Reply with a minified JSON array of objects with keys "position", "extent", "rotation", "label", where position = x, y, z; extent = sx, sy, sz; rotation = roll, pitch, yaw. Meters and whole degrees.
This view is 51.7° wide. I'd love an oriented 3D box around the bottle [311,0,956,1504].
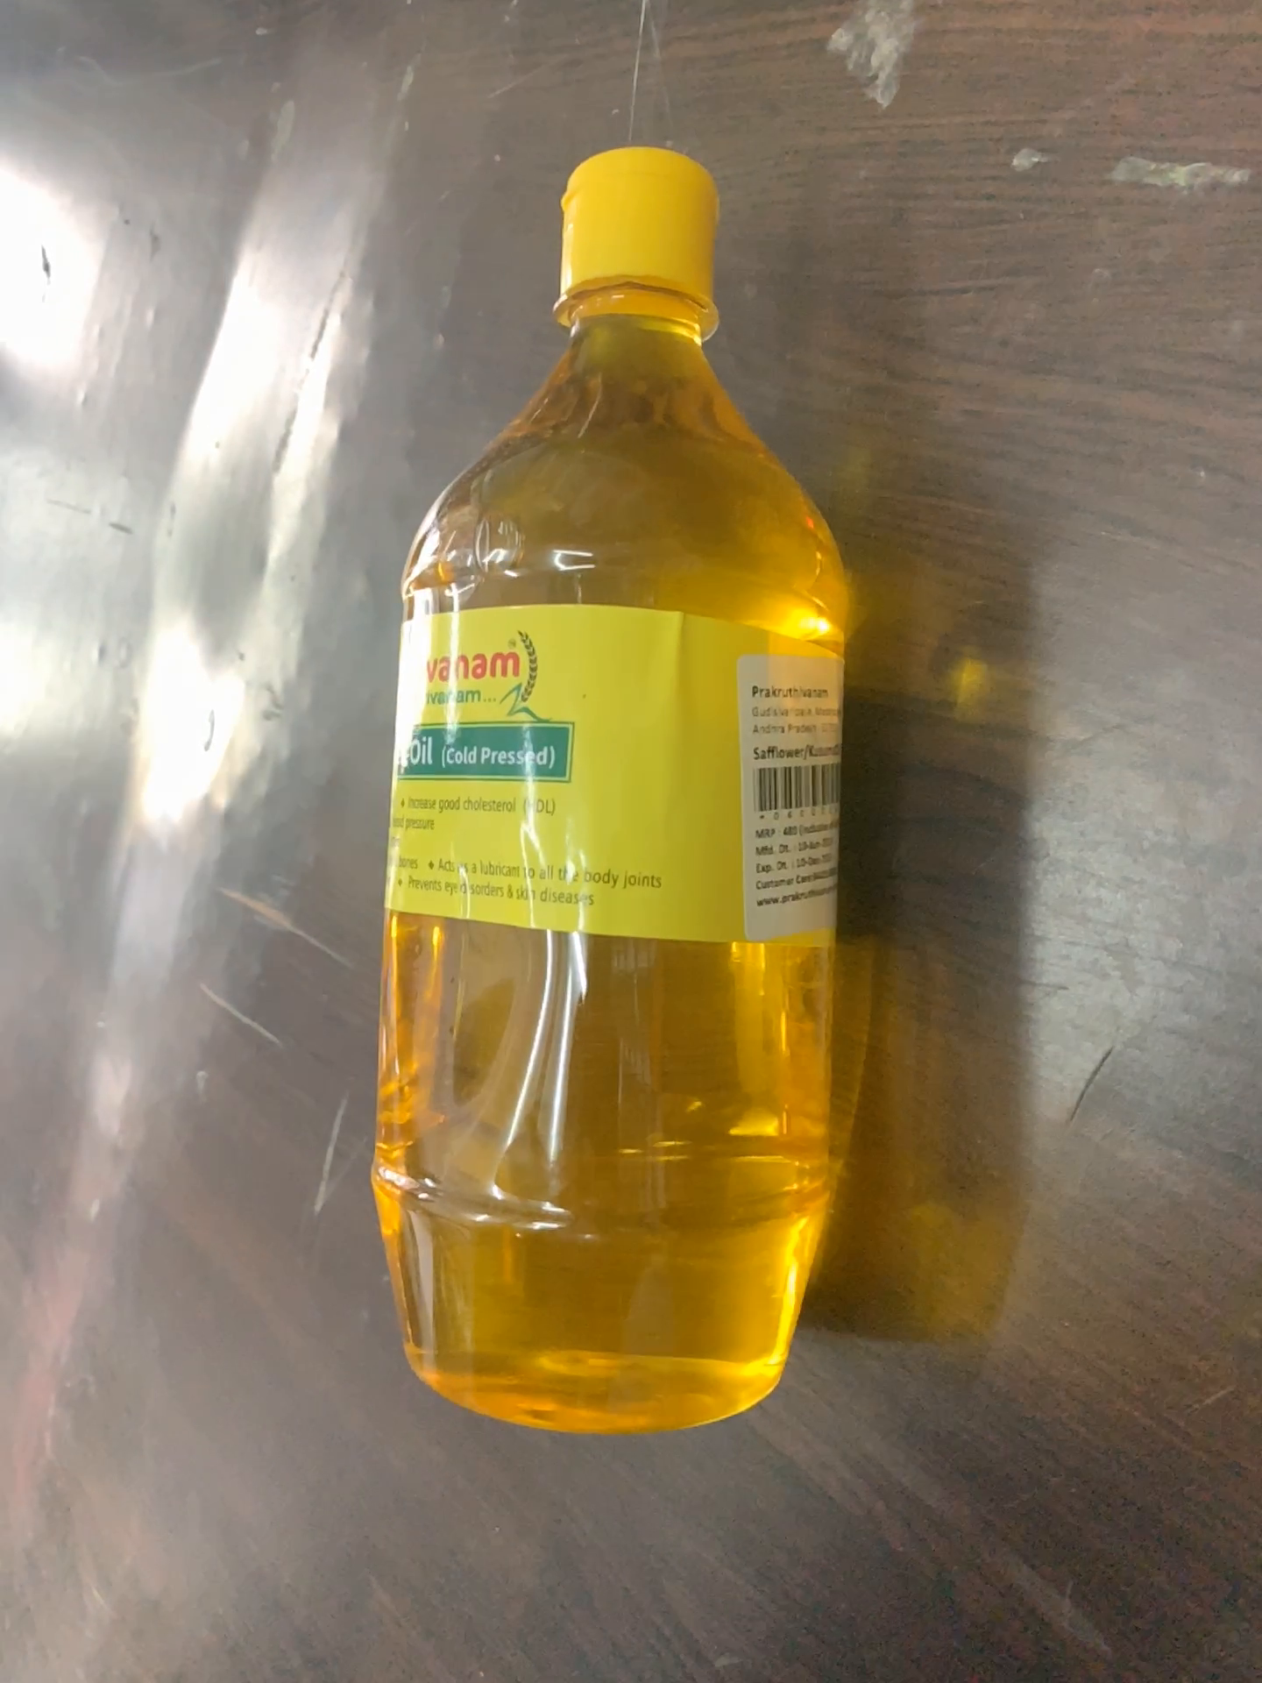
[{"position":[-0.005,-0.021,0.243],"extent":[0.090,0.080,0.230],"rotation":[2,90,61],"label":"bottle"}]
